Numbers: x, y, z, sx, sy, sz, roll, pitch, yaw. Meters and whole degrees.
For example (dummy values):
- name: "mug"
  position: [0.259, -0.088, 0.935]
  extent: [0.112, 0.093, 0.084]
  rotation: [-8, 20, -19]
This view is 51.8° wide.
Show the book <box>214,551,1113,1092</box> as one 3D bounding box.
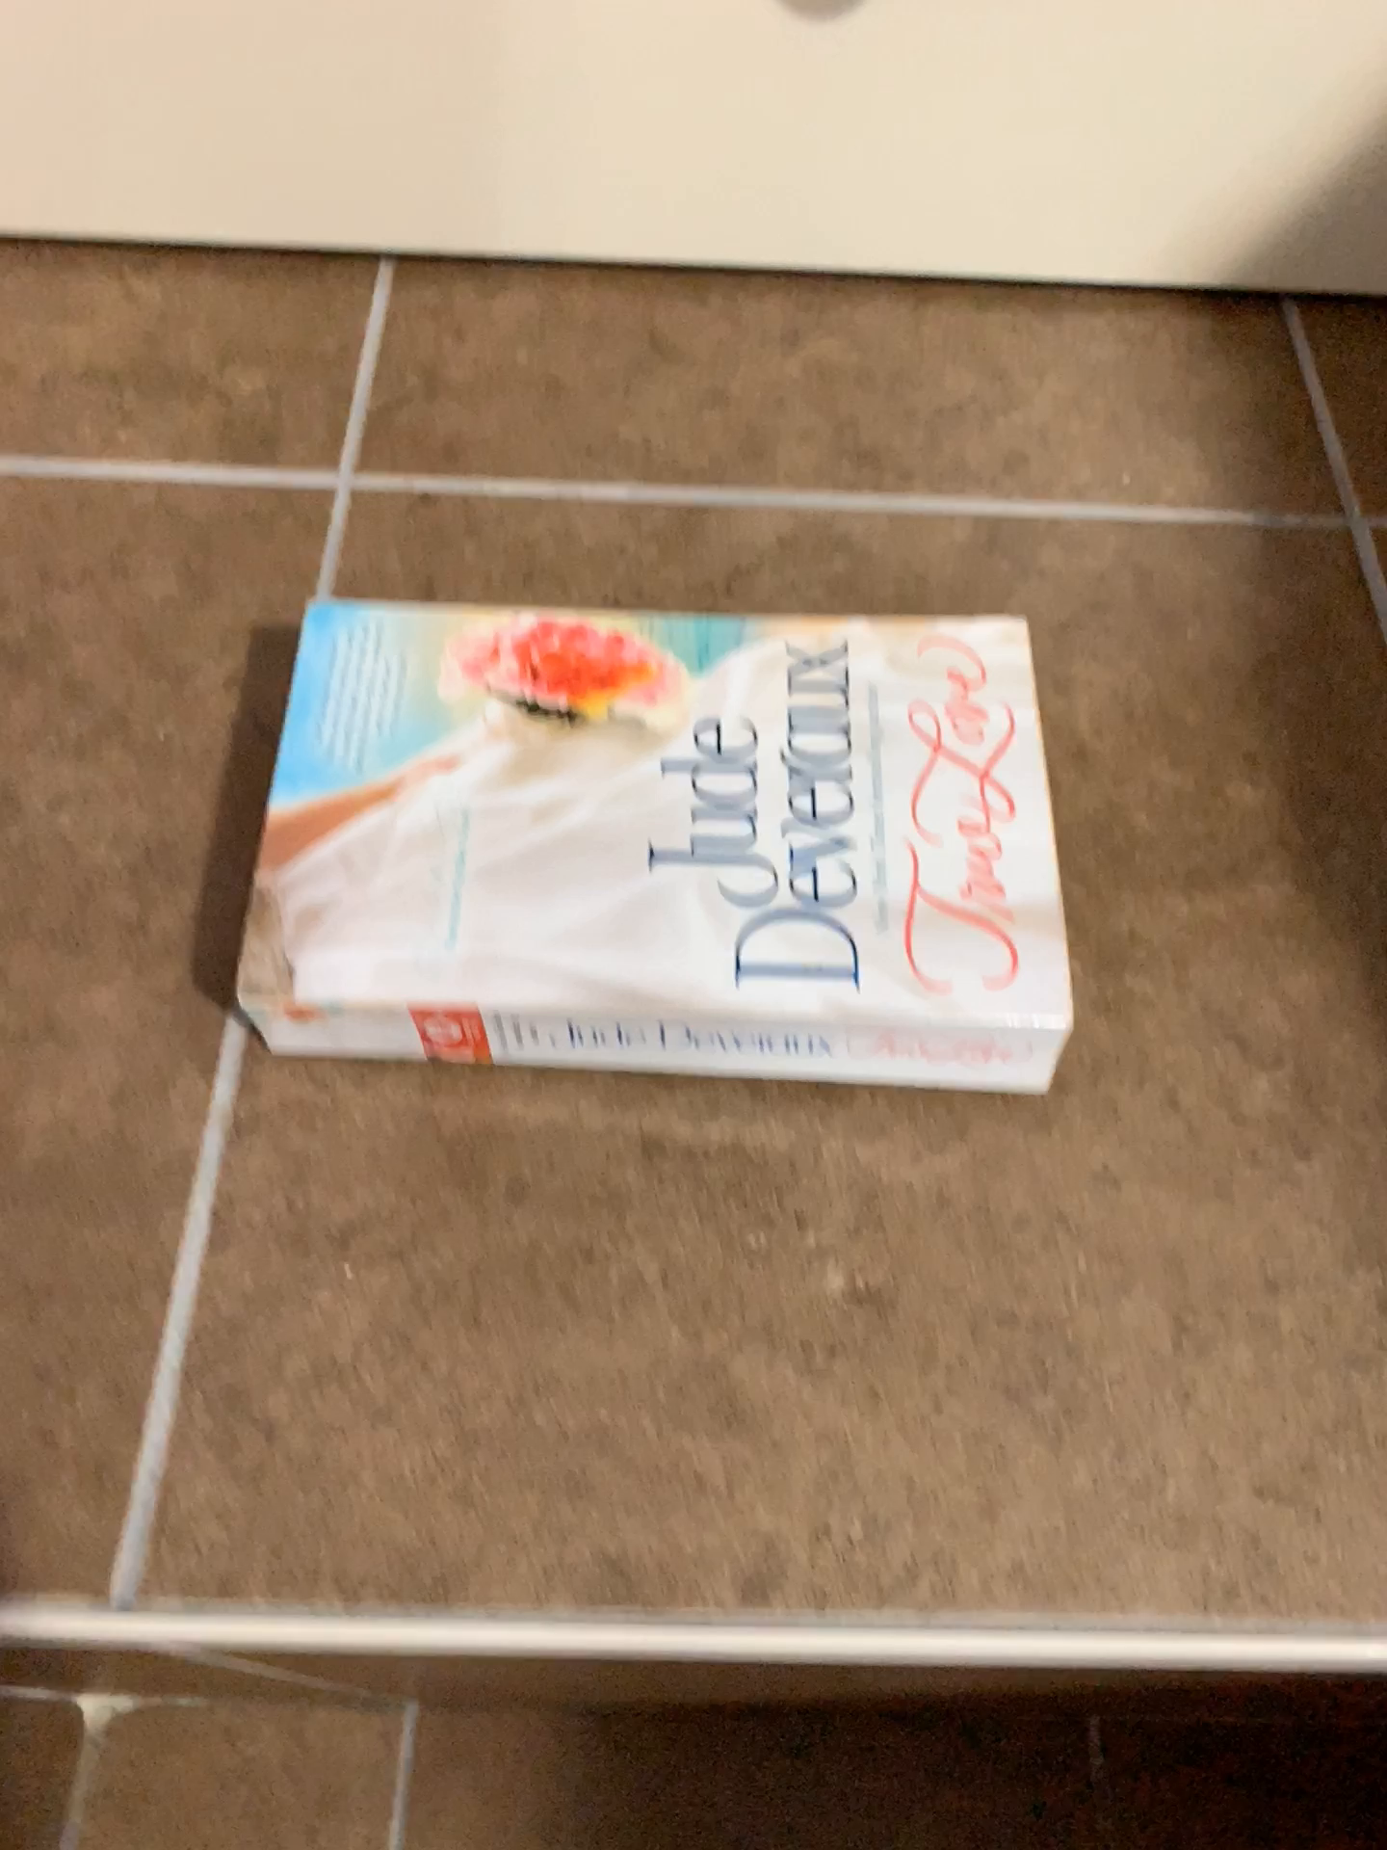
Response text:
- name: "book"
  position: [-0.004, -0.025, 0.332]
  extent: [0.179, 0.047, 0.106]
  rotation: [4, 60, -1]
